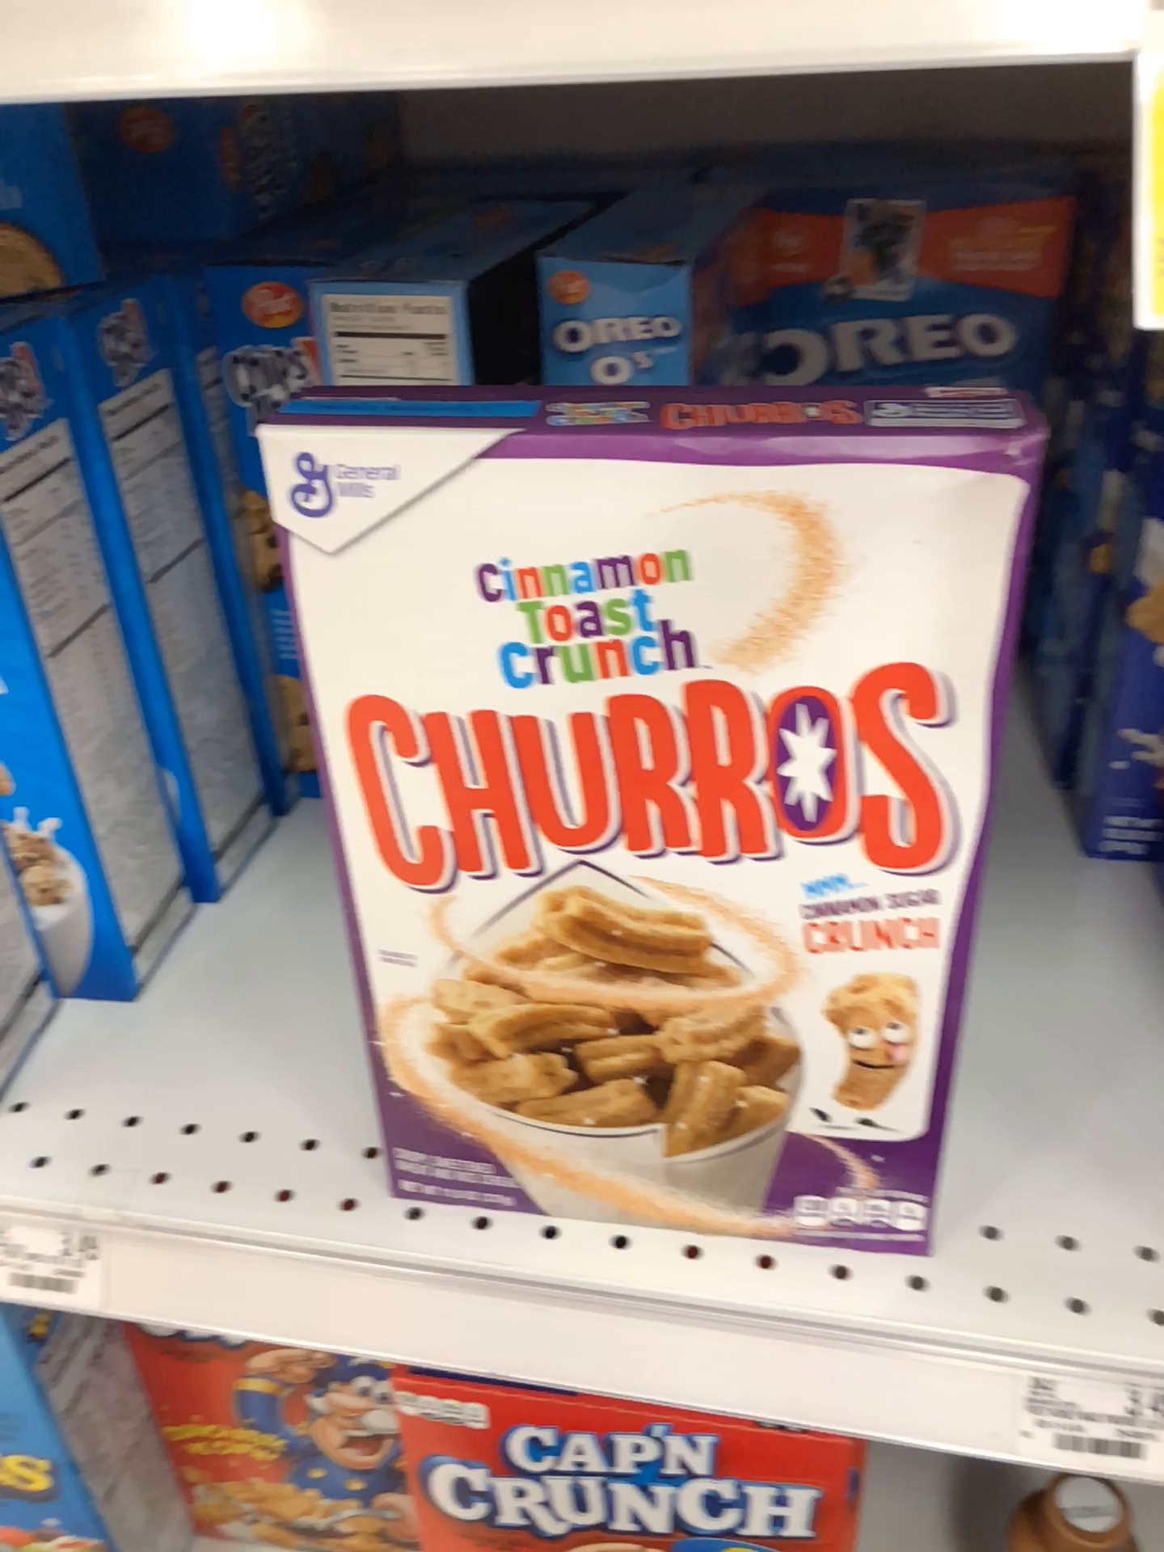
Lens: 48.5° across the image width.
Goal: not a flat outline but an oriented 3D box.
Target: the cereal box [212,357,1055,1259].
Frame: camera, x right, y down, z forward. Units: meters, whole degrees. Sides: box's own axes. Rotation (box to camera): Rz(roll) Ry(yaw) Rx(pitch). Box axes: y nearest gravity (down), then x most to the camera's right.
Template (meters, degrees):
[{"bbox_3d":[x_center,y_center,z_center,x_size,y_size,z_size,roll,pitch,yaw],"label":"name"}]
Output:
[{"bbox_3d":[0.018,0.021,0.401,0.200,0.279,0.060,3,32,10],"label":"cereal box"}]
